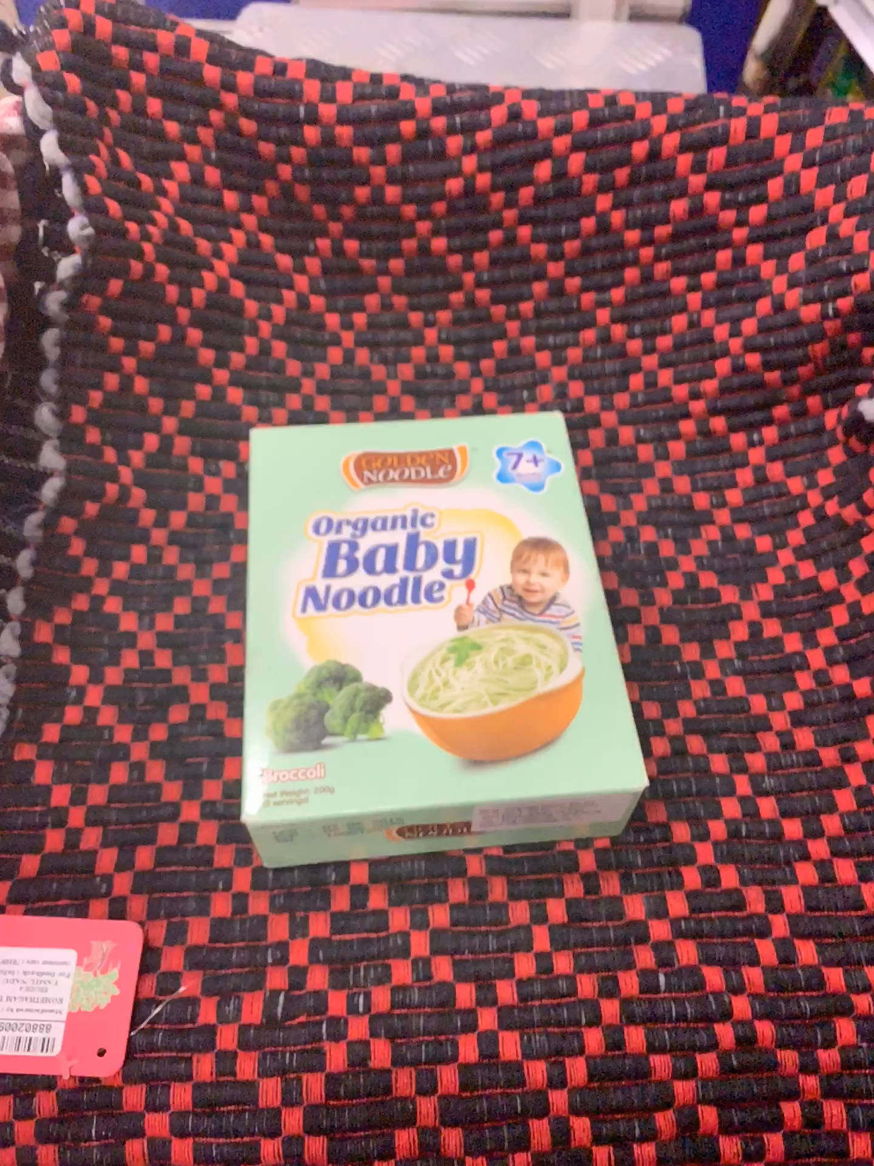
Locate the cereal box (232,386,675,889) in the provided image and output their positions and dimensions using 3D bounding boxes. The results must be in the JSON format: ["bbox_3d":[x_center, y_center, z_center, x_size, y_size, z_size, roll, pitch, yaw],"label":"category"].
[{"bbox_3d":[-0.003,0.013,0.336,0.130,0.060,0.171,-3,57,-4],"label":"cereal box"}]
